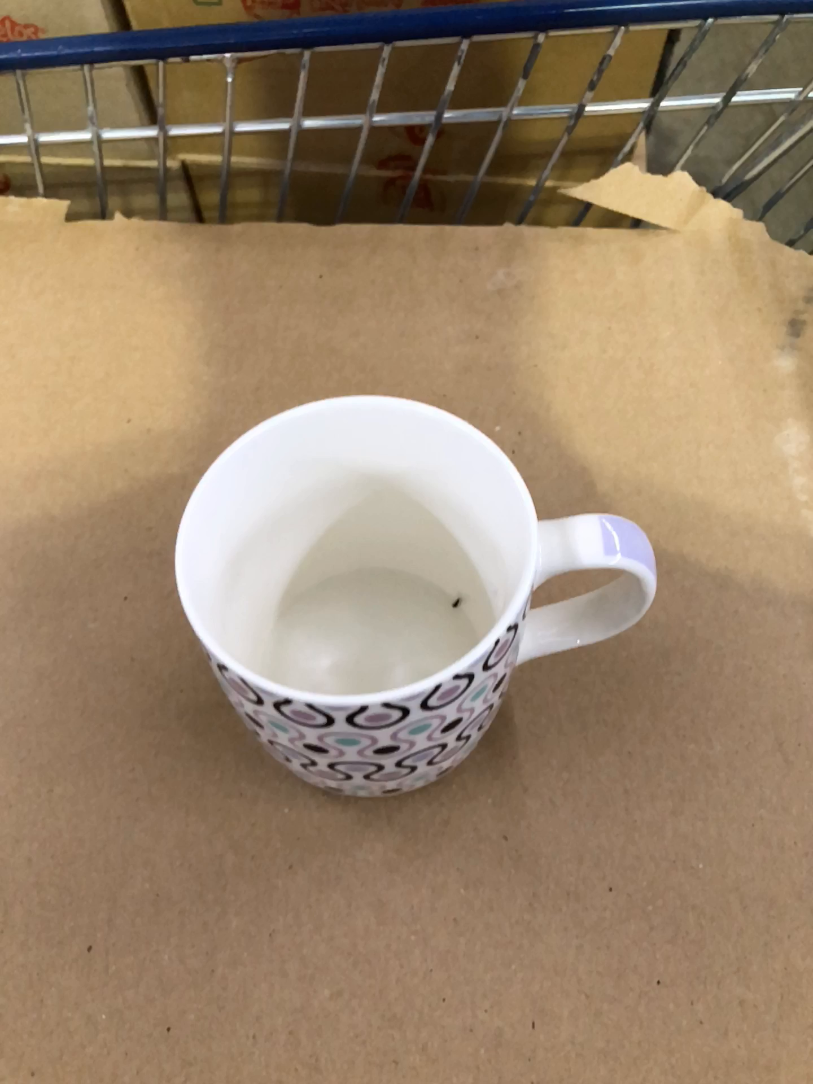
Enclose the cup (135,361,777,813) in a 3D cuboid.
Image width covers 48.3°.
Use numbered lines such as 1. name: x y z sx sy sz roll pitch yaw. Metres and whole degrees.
1. cup: 0.009 0.016 0.259 0.140 0.090 0.090 -3 58 -1
